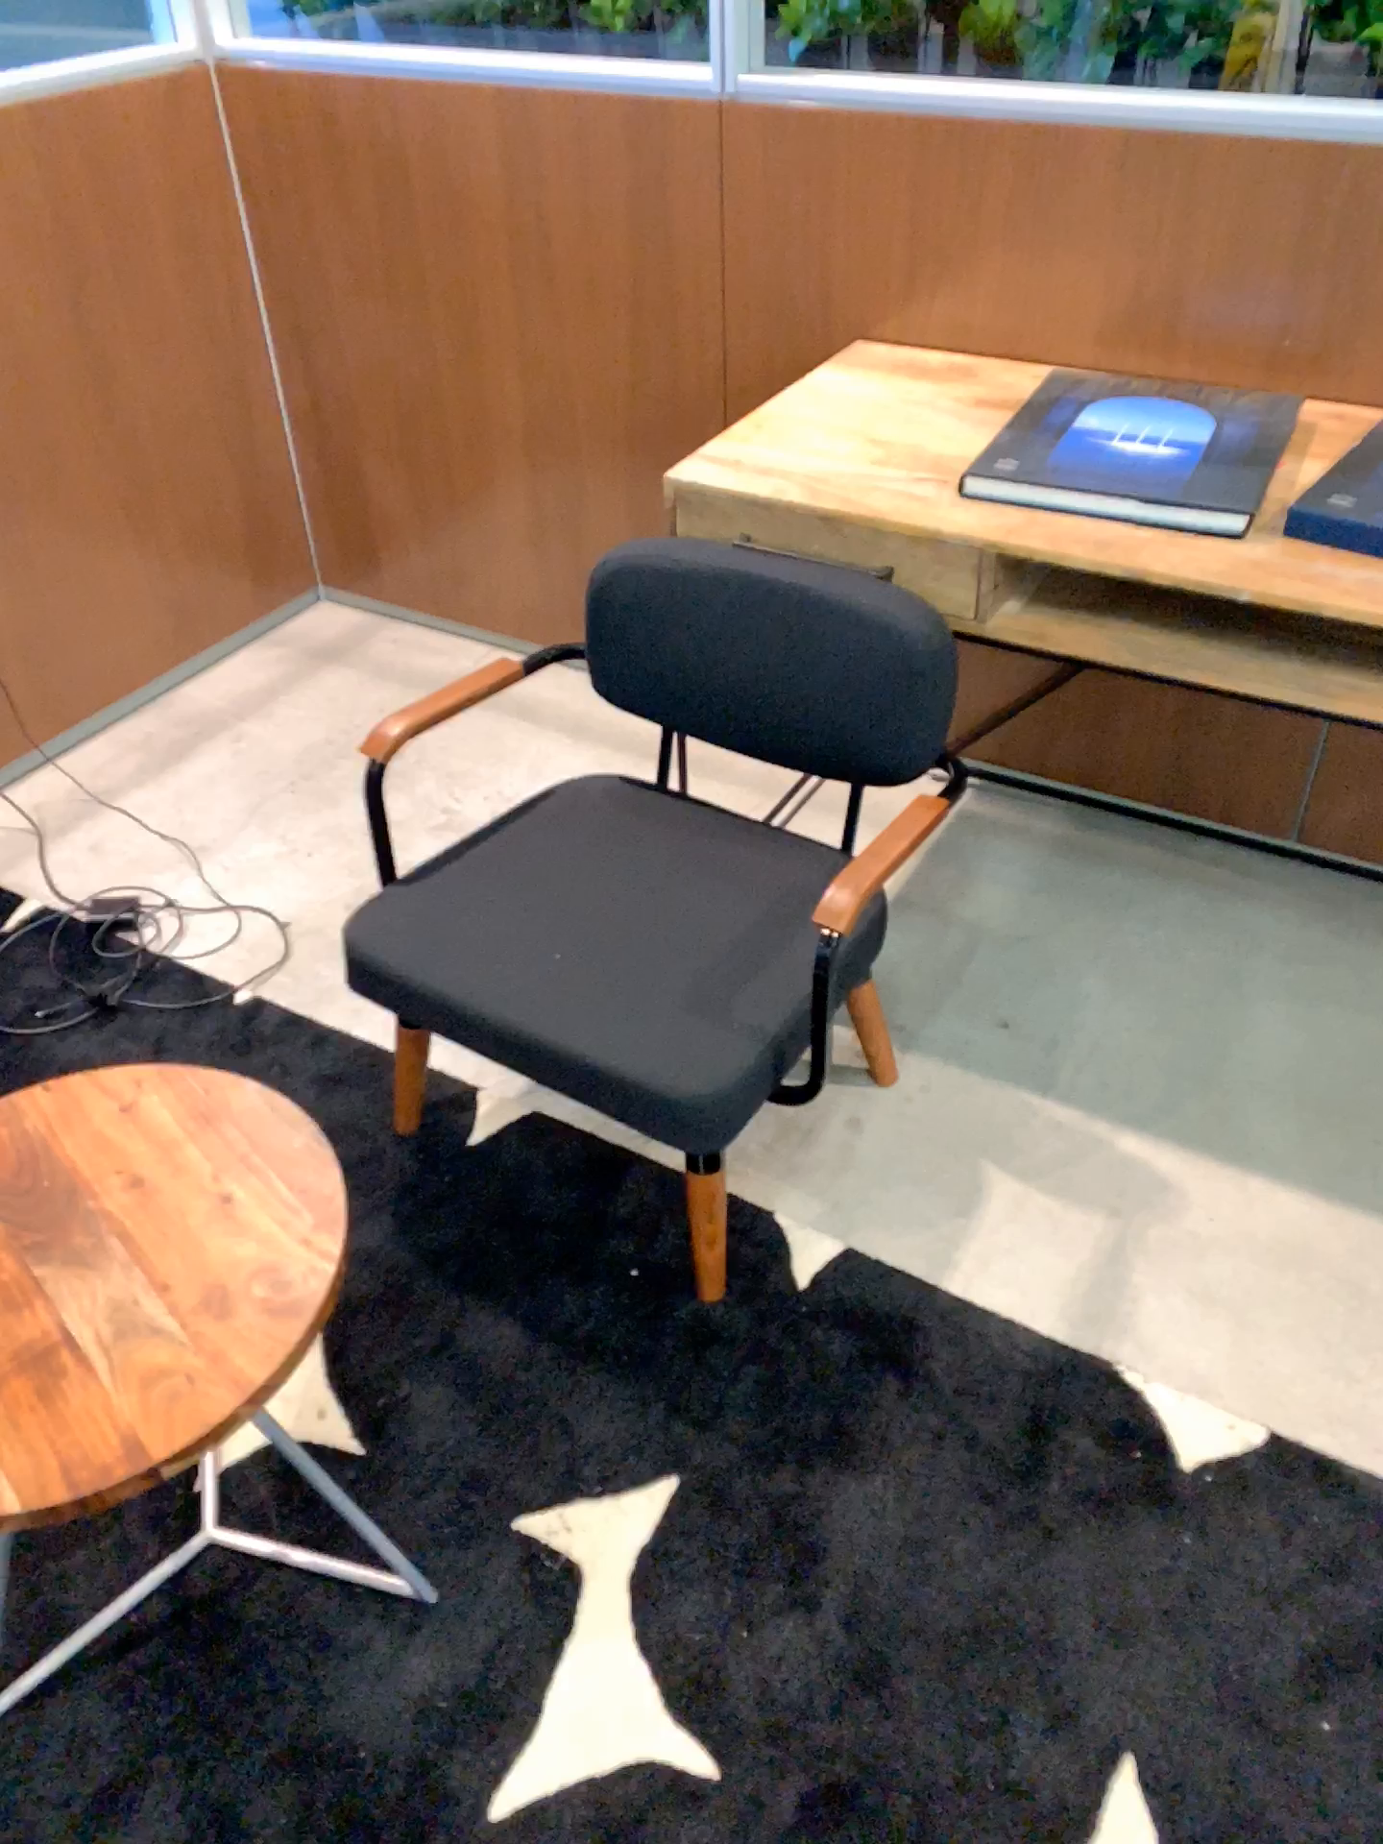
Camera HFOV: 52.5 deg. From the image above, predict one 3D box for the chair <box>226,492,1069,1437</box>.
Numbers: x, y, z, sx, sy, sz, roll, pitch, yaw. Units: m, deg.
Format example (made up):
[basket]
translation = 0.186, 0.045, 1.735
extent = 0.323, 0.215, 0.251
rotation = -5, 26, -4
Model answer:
[chair]
translation = -0.028, 0.024, 1.872
extent = 0.752, 0.875, 0.612
rotation = 21, 44, 27
